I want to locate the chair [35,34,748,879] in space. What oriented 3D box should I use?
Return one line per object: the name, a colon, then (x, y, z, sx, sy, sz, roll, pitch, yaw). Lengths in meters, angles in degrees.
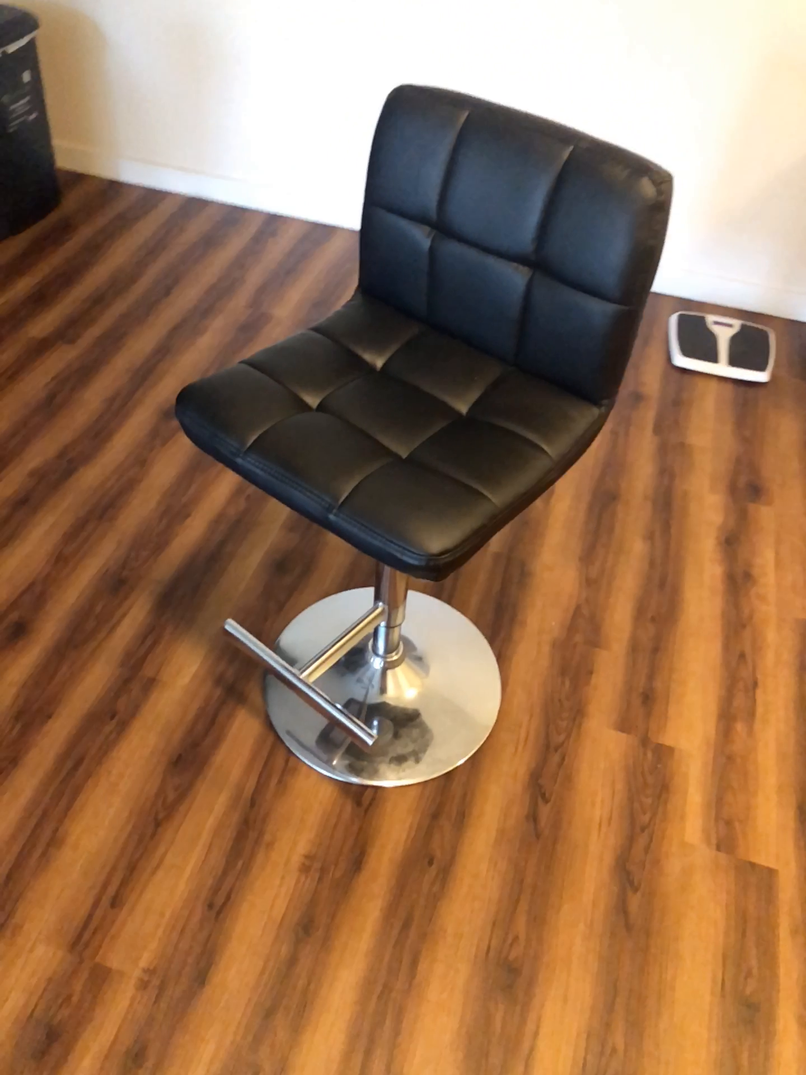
chair: (-0.023, -0.090, 1.295, 0.535, 0.952, 0.570, 33, 51, 25)
